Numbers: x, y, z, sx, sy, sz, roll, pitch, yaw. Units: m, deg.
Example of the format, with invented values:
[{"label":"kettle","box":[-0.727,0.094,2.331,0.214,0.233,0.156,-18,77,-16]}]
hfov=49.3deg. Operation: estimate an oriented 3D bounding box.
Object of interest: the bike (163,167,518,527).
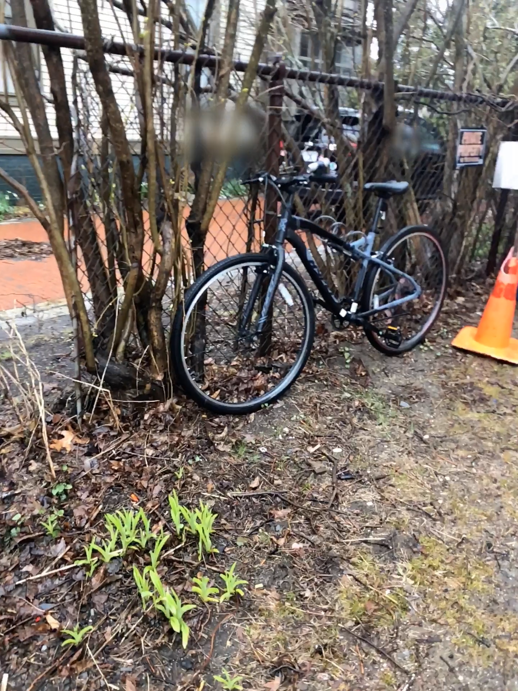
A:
[{"label":"bike","box":[0.494,-0.168,2.714,1.889,1.067,0.538,-19,29,-36]}]
